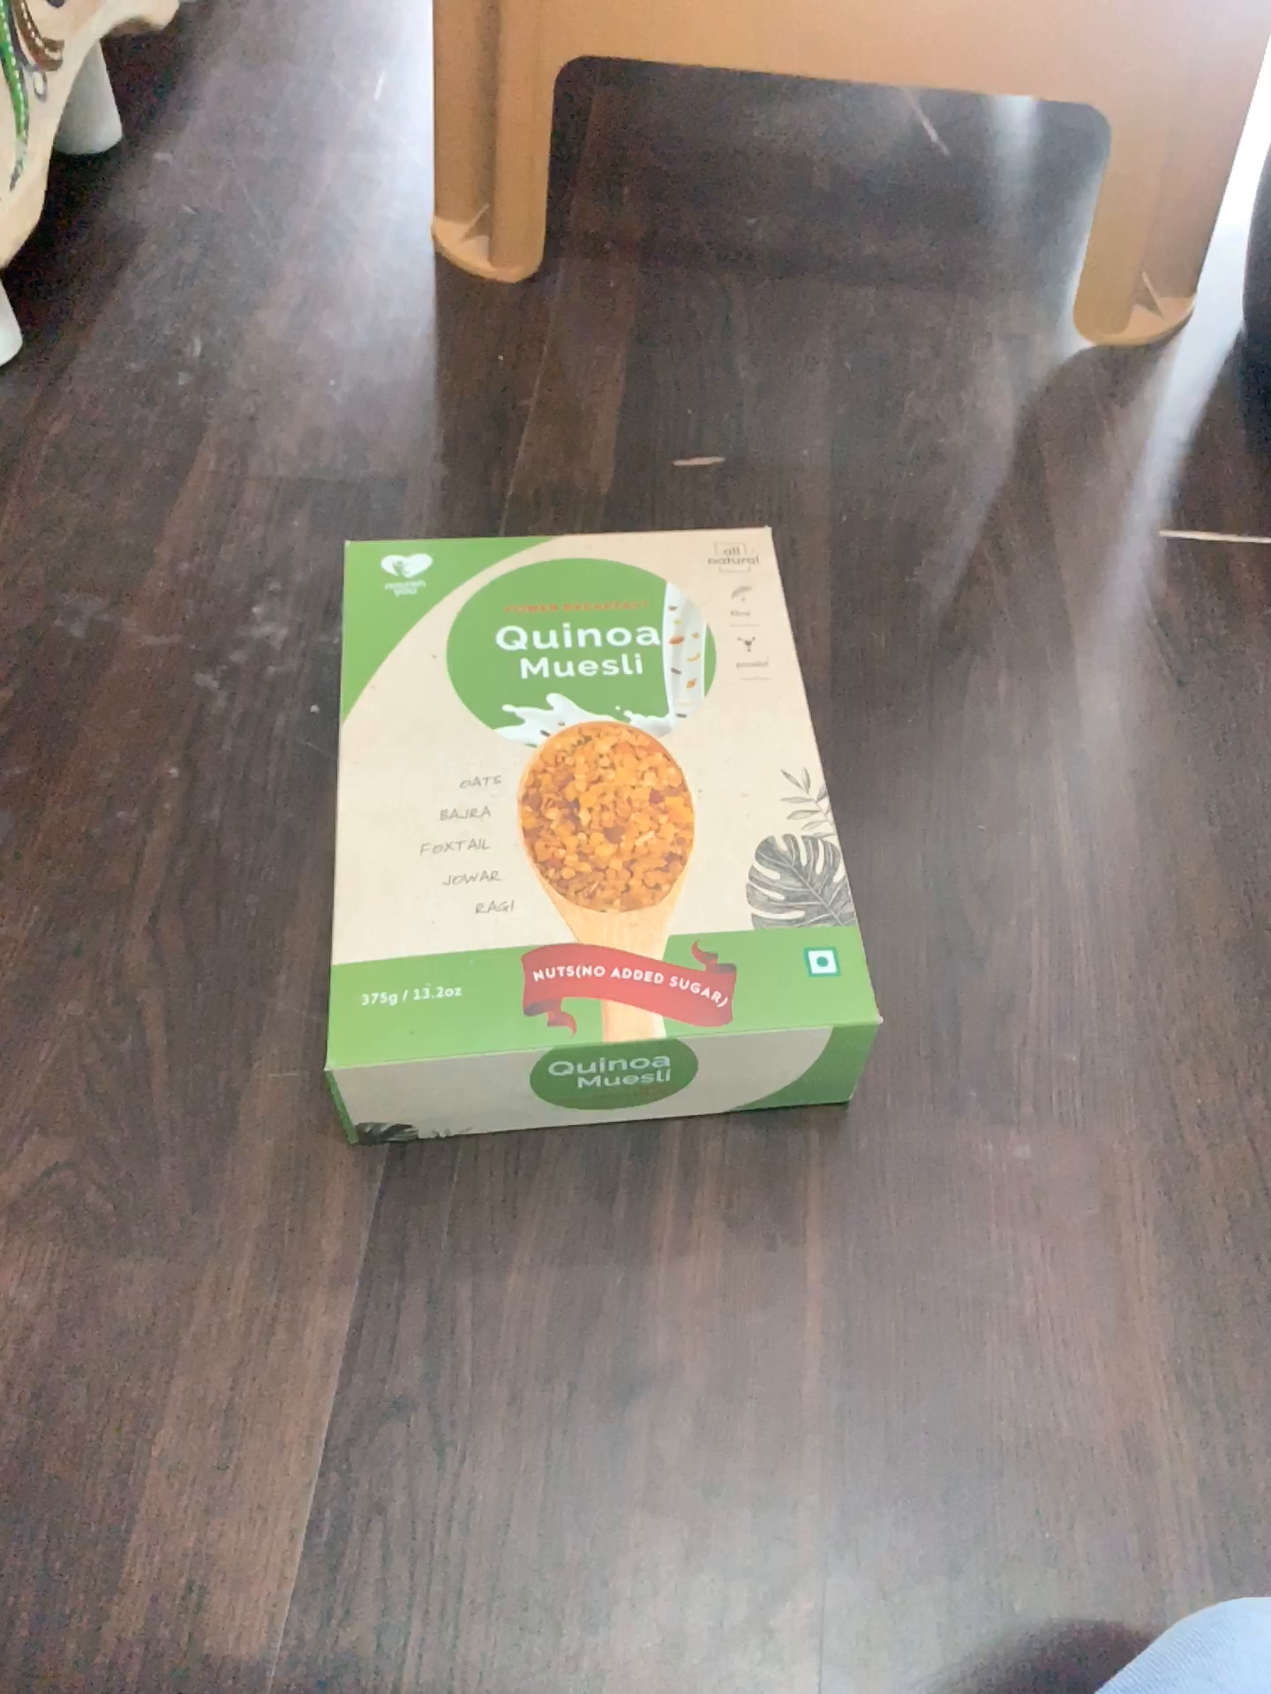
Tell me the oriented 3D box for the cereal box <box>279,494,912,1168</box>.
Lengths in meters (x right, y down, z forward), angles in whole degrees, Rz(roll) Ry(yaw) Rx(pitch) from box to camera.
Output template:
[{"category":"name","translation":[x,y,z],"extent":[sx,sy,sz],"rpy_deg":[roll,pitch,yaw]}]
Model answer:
[{"category":"cereal box","translation":[-0.020,-0.014,0.437],"extent":[0.170,0.070,0.210],"rpy_deg":[-4,57,-4]}]
